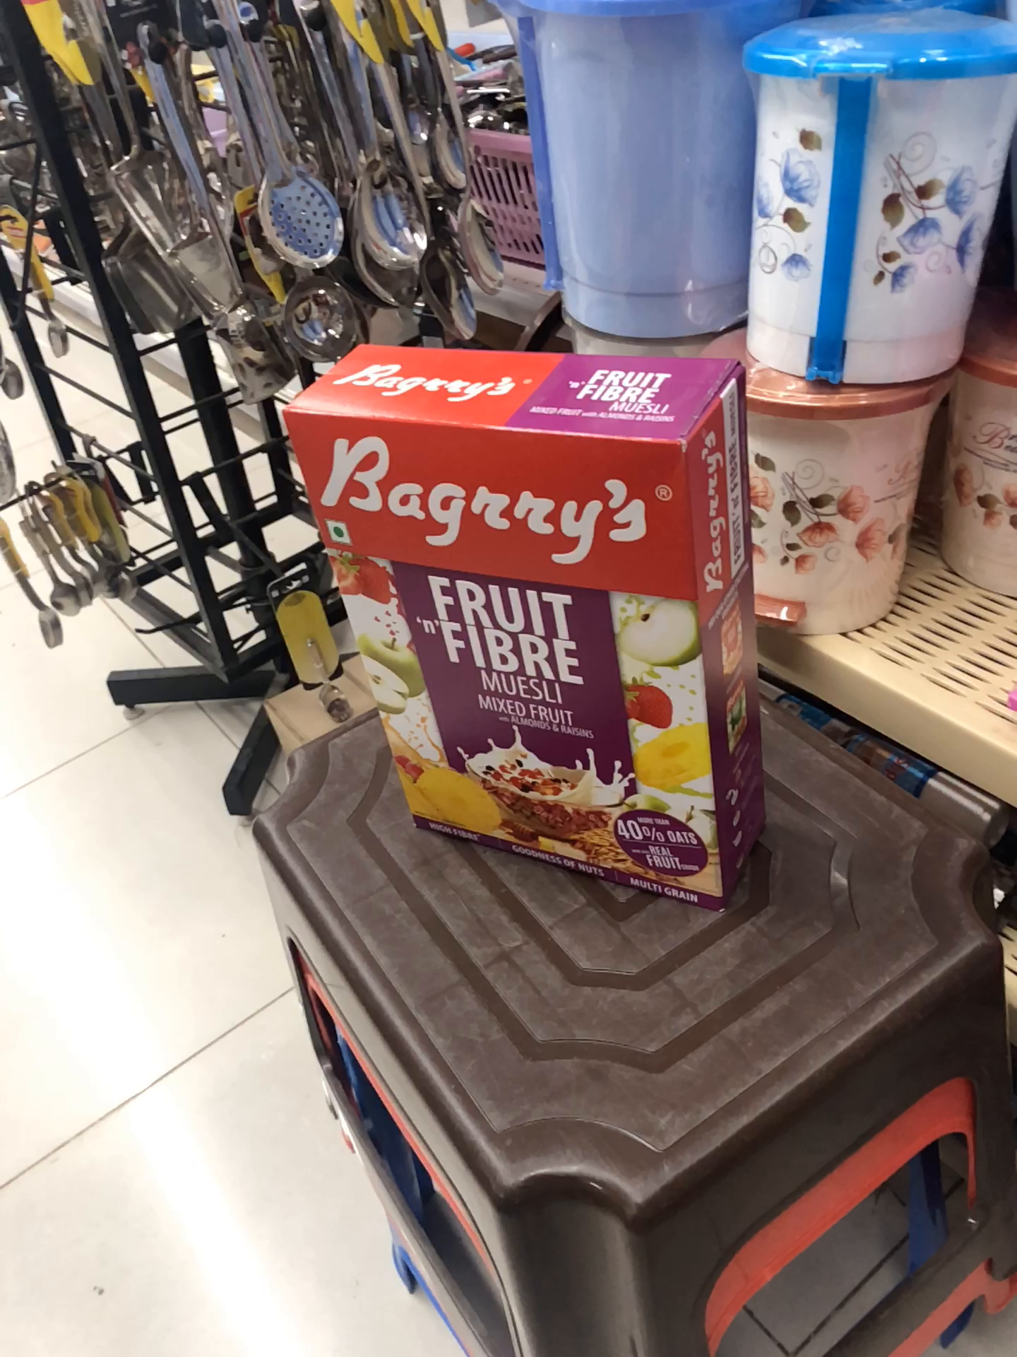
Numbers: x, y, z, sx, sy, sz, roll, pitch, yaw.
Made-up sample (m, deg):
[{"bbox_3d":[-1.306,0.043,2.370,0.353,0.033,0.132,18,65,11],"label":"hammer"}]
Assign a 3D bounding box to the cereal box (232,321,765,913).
[{"bbox_3d":[0.008,-0.027,0.531,0.200,0.259,0.070,11,43,28],"label":"cereal box"}]
